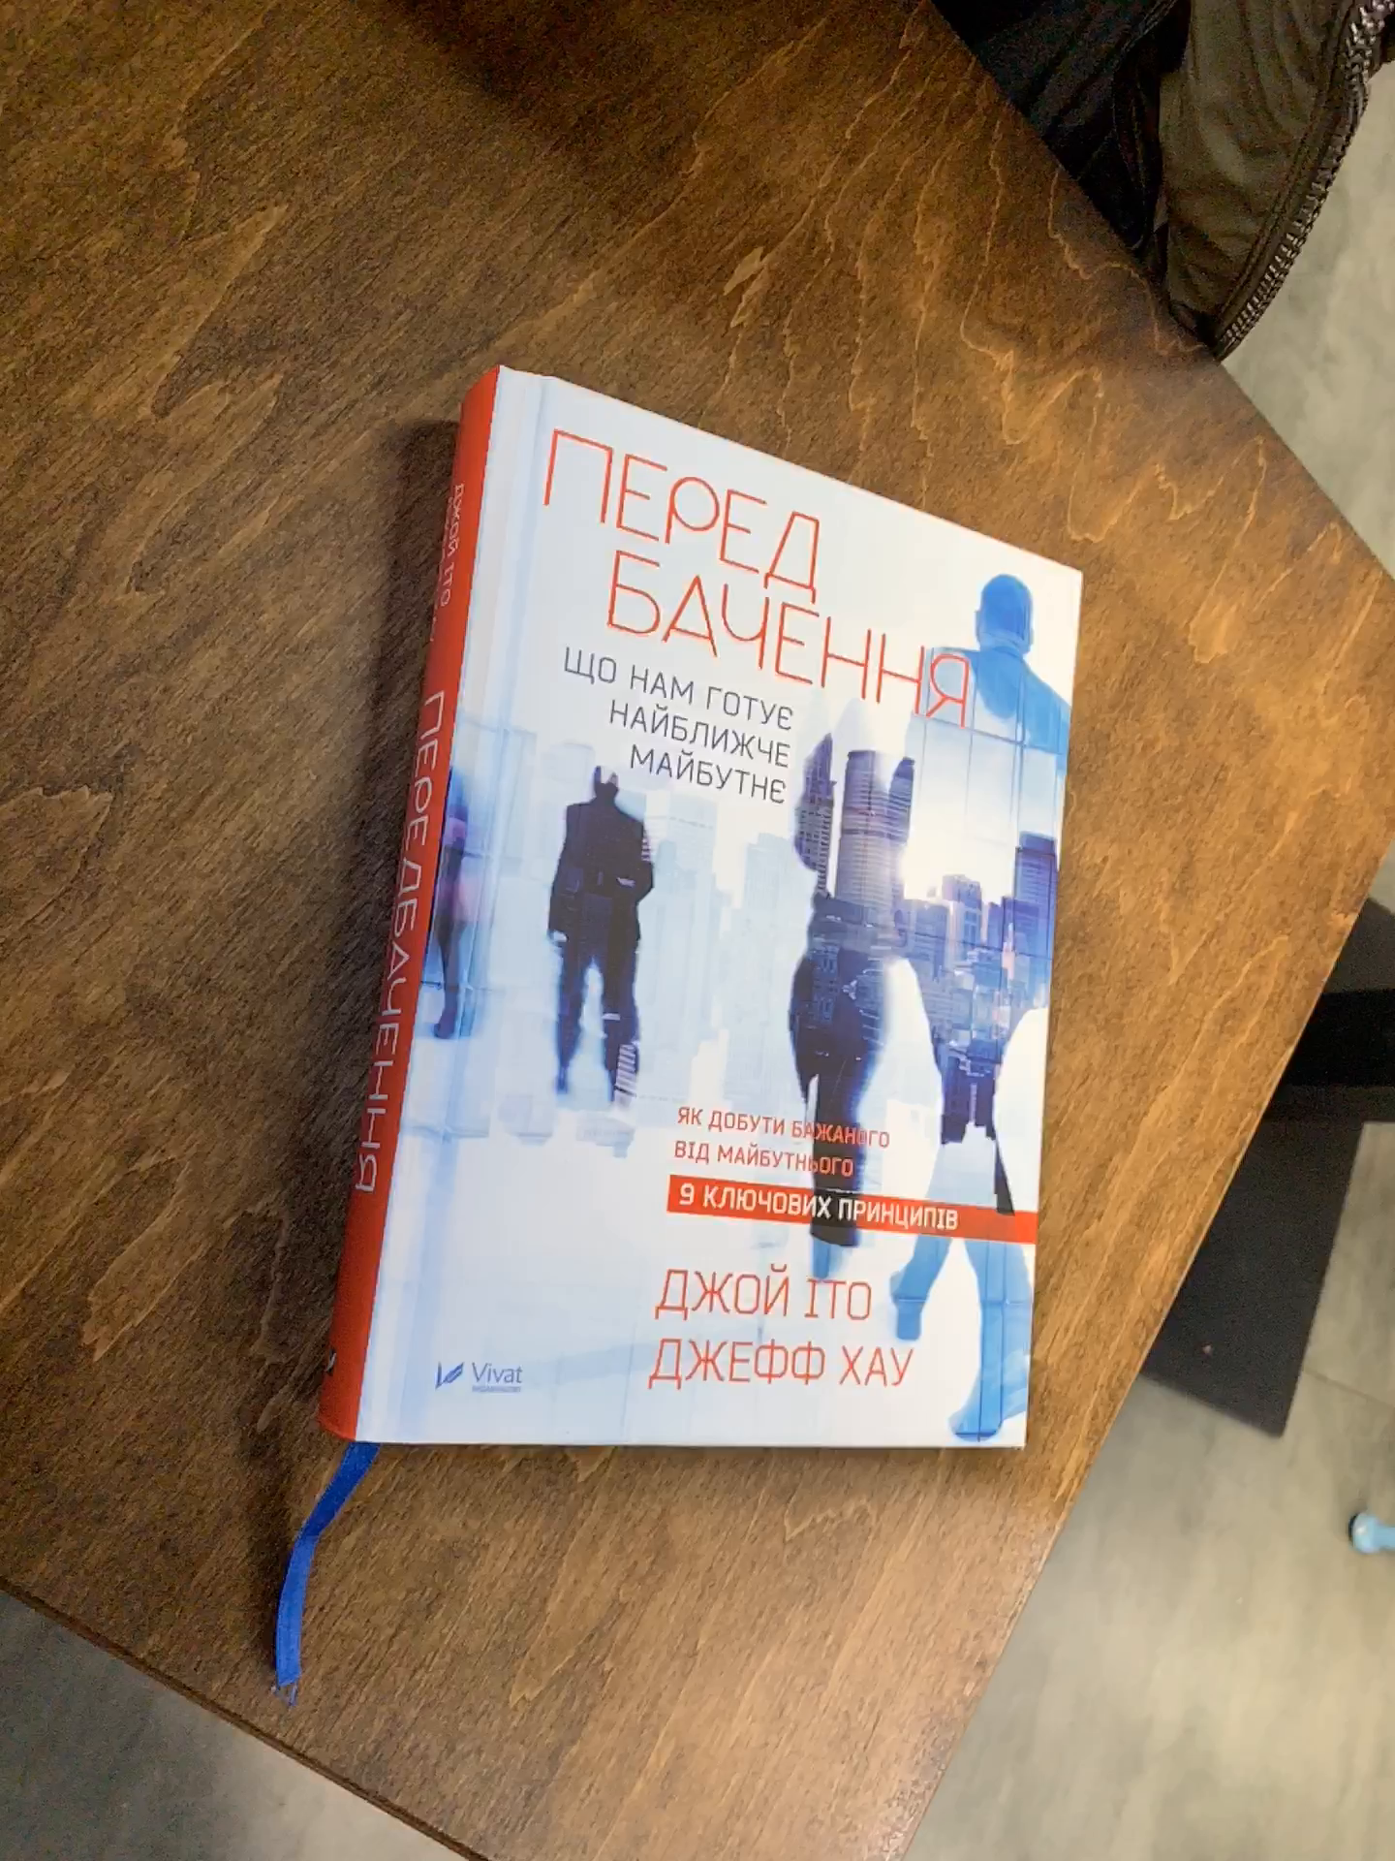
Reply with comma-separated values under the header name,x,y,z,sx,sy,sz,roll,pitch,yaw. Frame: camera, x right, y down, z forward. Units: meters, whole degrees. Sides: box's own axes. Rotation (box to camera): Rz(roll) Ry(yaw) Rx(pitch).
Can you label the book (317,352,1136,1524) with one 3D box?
name,x,y,z,sx,sy,sz,roll,pitch,yaw
book,0.015,0.008,0.288,0.149,0.040,0.196,10,80,-27
